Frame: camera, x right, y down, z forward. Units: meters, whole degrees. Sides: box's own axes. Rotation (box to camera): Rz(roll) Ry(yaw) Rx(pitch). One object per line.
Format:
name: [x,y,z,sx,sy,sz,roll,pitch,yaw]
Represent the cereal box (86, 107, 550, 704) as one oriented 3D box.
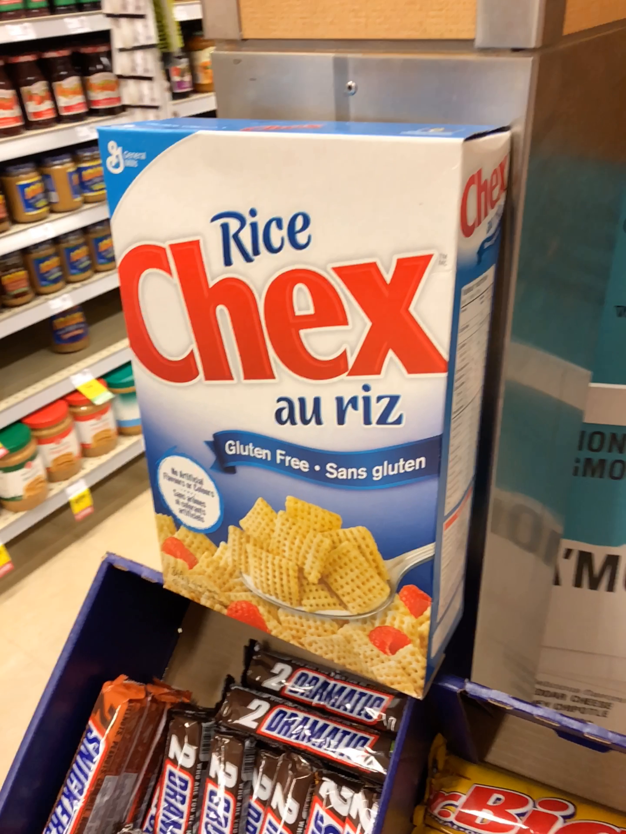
cereal box: [-0.006,-0.011,0.386,0.211,0.288,0.070,15,30,27]
